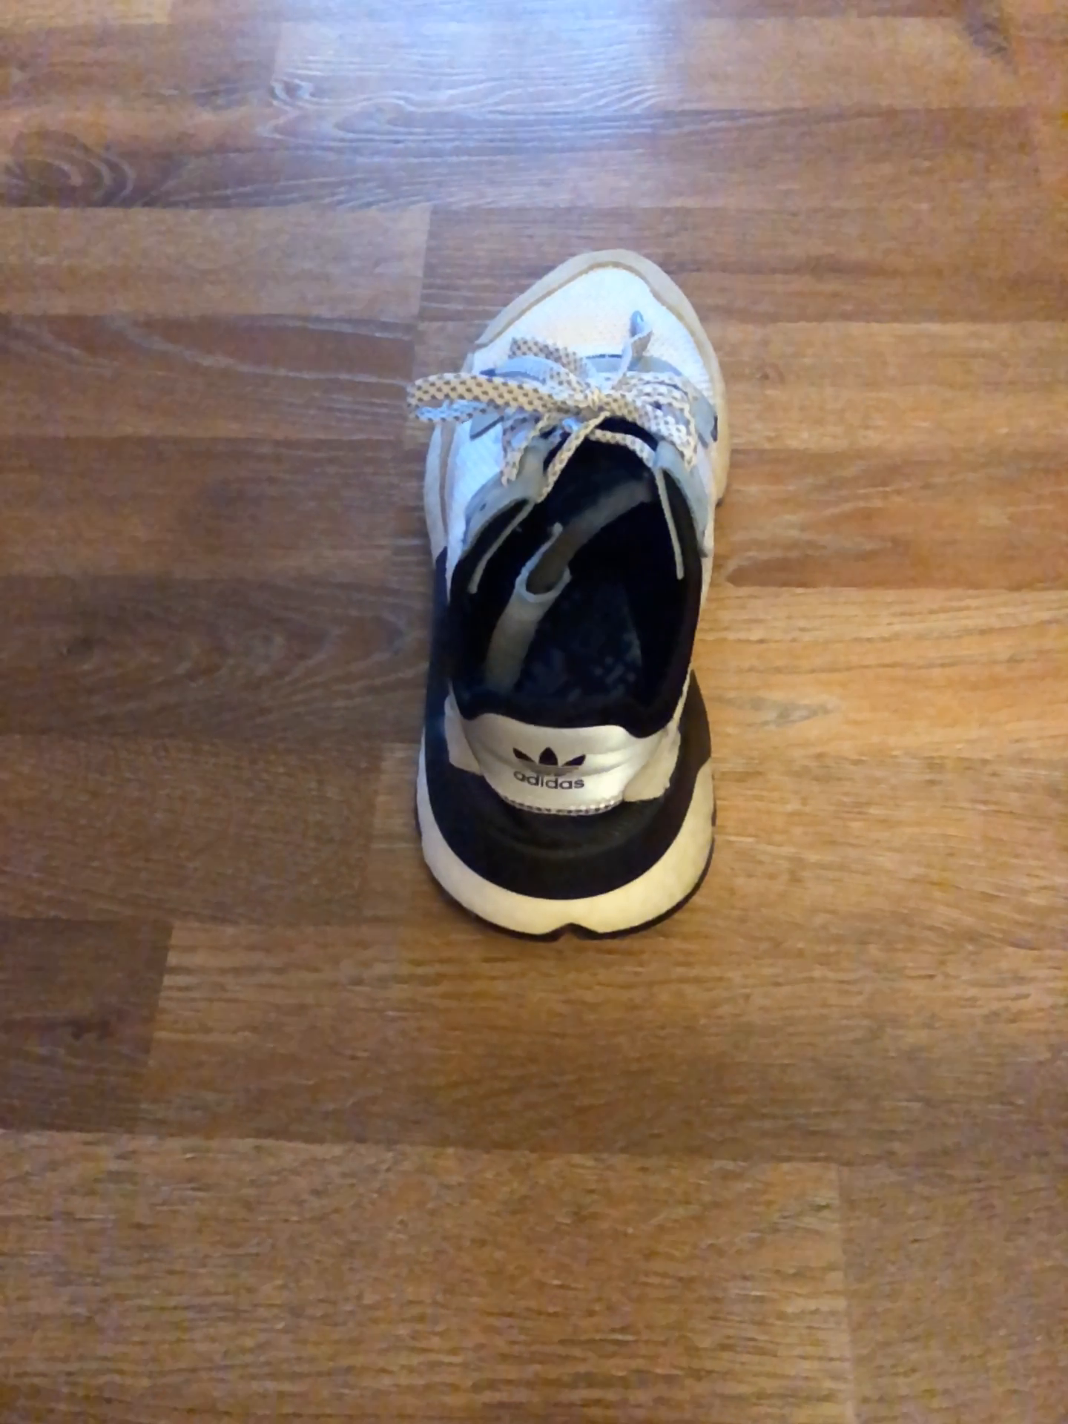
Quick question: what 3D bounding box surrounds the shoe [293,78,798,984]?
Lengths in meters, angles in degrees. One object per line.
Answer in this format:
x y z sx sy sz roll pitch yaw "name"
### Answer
0.008 -0.063 0.377 0.113 0.110 0.271 1 63 2 "shoe"
